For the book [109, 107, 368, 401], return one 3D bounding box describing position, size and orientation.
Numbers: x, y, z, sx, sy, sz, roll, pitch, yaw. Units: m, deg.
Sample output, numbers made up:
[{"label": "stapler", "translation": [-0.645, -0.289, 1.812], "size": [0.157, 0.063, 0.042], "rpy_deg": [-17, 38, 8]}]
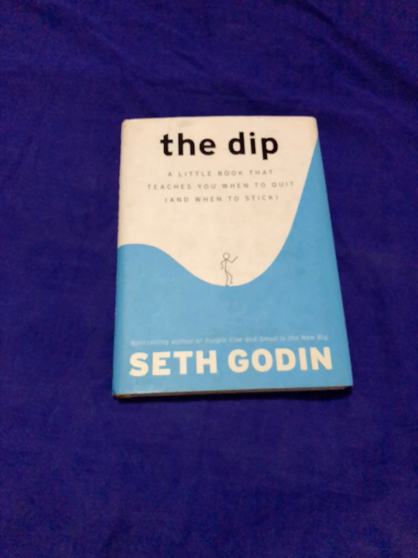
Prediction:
[{"label": "book", "translation": [0.012, -0.025, 0.298], "size": [0.140, 0.020, 0.190], "rpy_deg": [-2, 68, -3]}]
